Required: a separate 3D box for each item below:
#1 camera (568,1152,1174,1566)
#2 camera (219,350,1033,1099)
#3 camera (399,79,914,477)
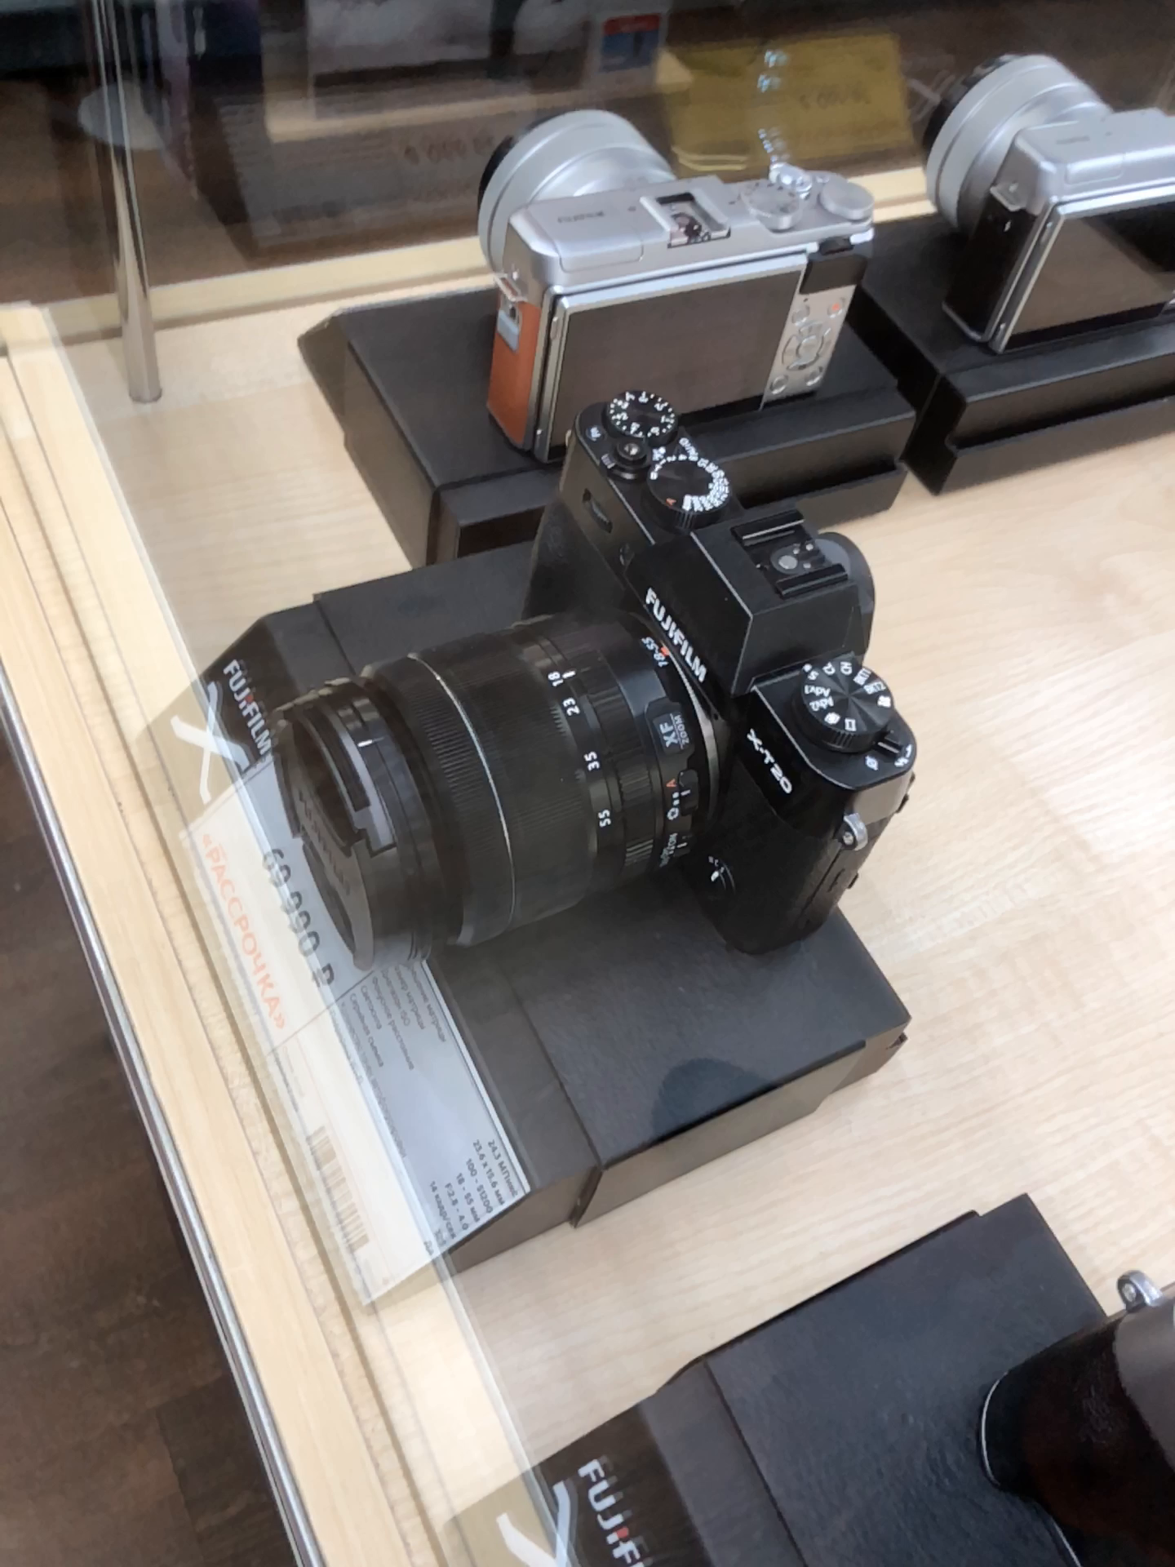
[{"bbox_3d":[0.086,0.149,0.190,0.124,0.072,0.130,-19,61,-23],"label":"camera"},{"bbox_3d":[0.000,-0.019,0.300,0.130,0.080,0.122,-17,60,-22],"label":"camera"},{"bbox_3d":[0.017,-0.152,0.385,0.122,0.064,0.074,-19,61,-23],"label":"camera"}]
